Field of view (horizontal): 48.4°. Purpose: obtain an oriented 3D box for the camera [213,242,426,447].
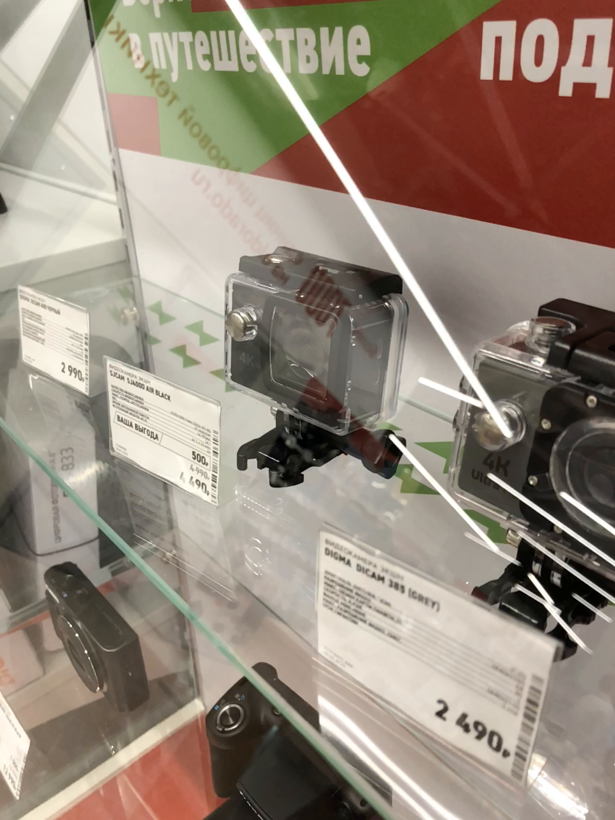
[{"bbox_3d":[0.001,-0.028,0.259,0.074,0.055,0.033,22,29,37],"label":"camera"}]
